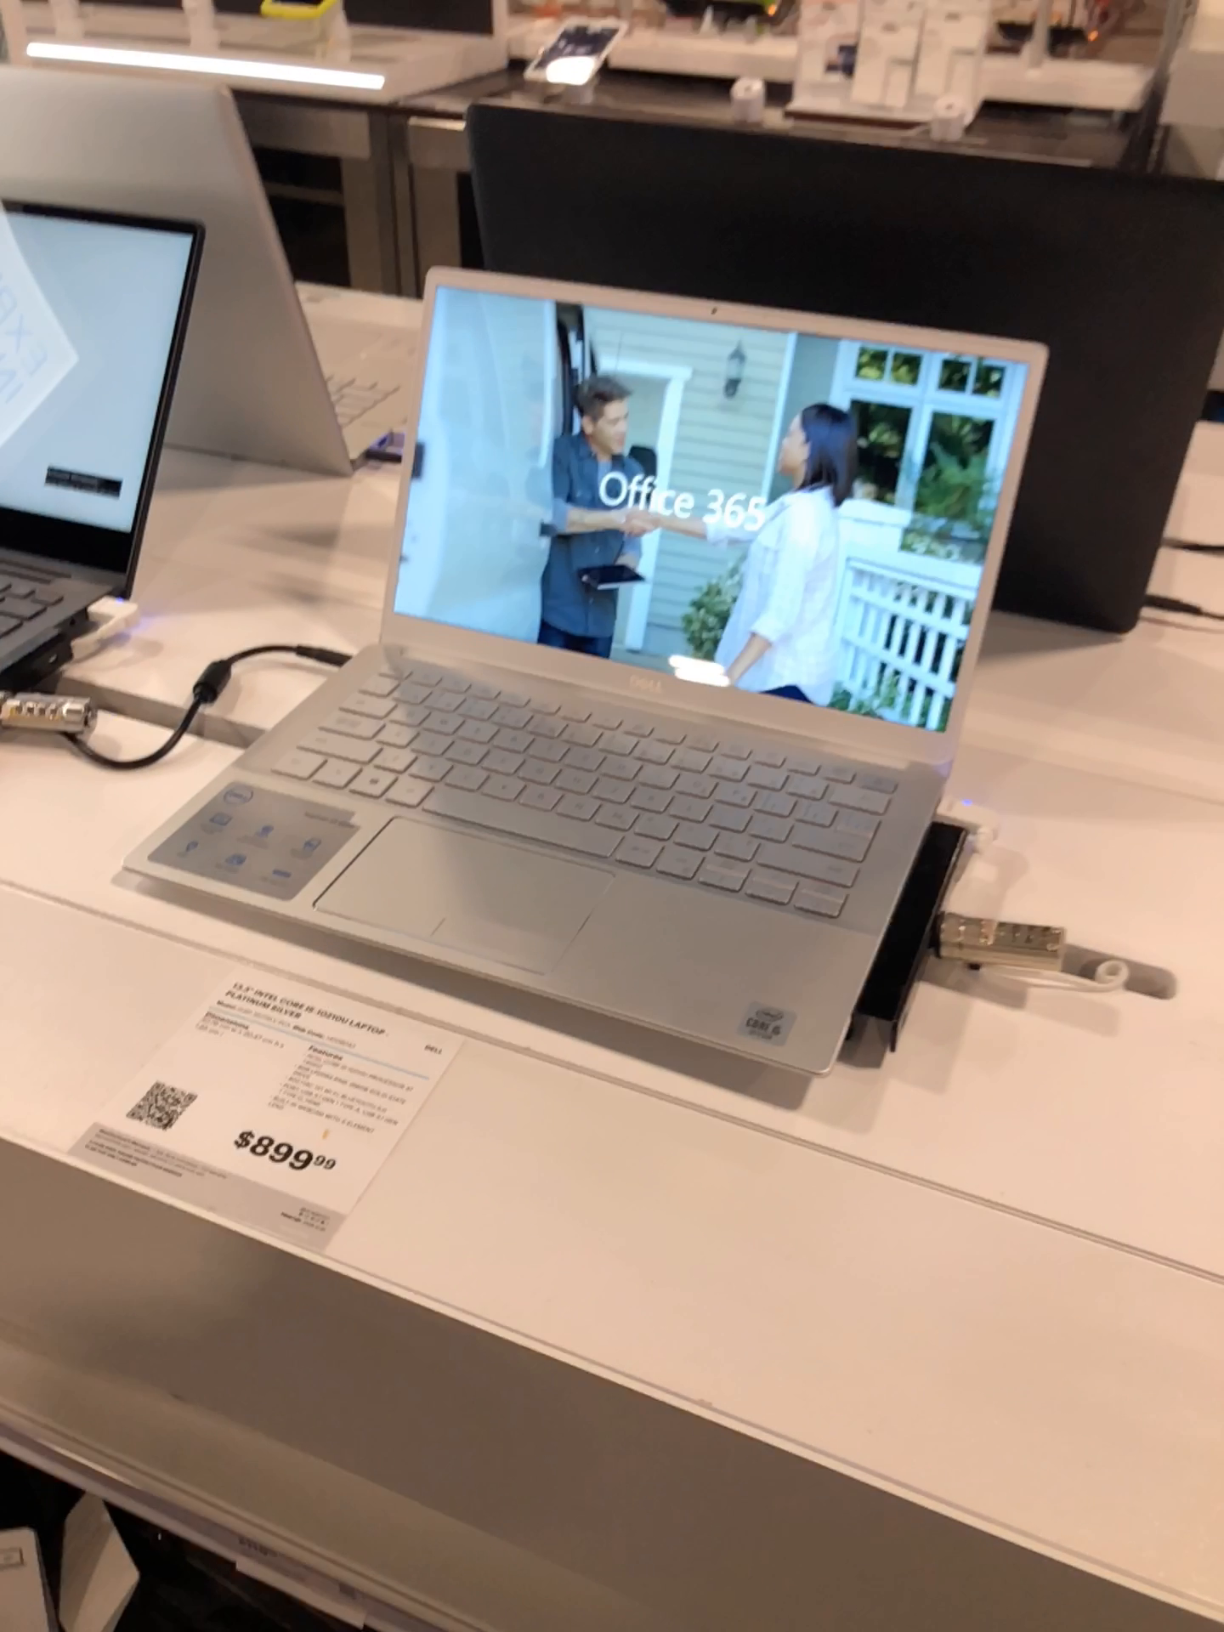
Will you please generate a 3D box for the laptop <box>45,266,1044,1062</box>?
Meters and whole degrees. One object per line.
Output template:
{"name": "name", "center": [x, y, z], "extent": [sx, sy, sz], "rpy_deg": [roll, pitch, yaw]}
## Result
{"name": "laptop", "center": [-0.009, -0.097, 0.576], "extent": [0.293, 0.165, 0.294], "rpy_deg": [14, 40, 20]}
